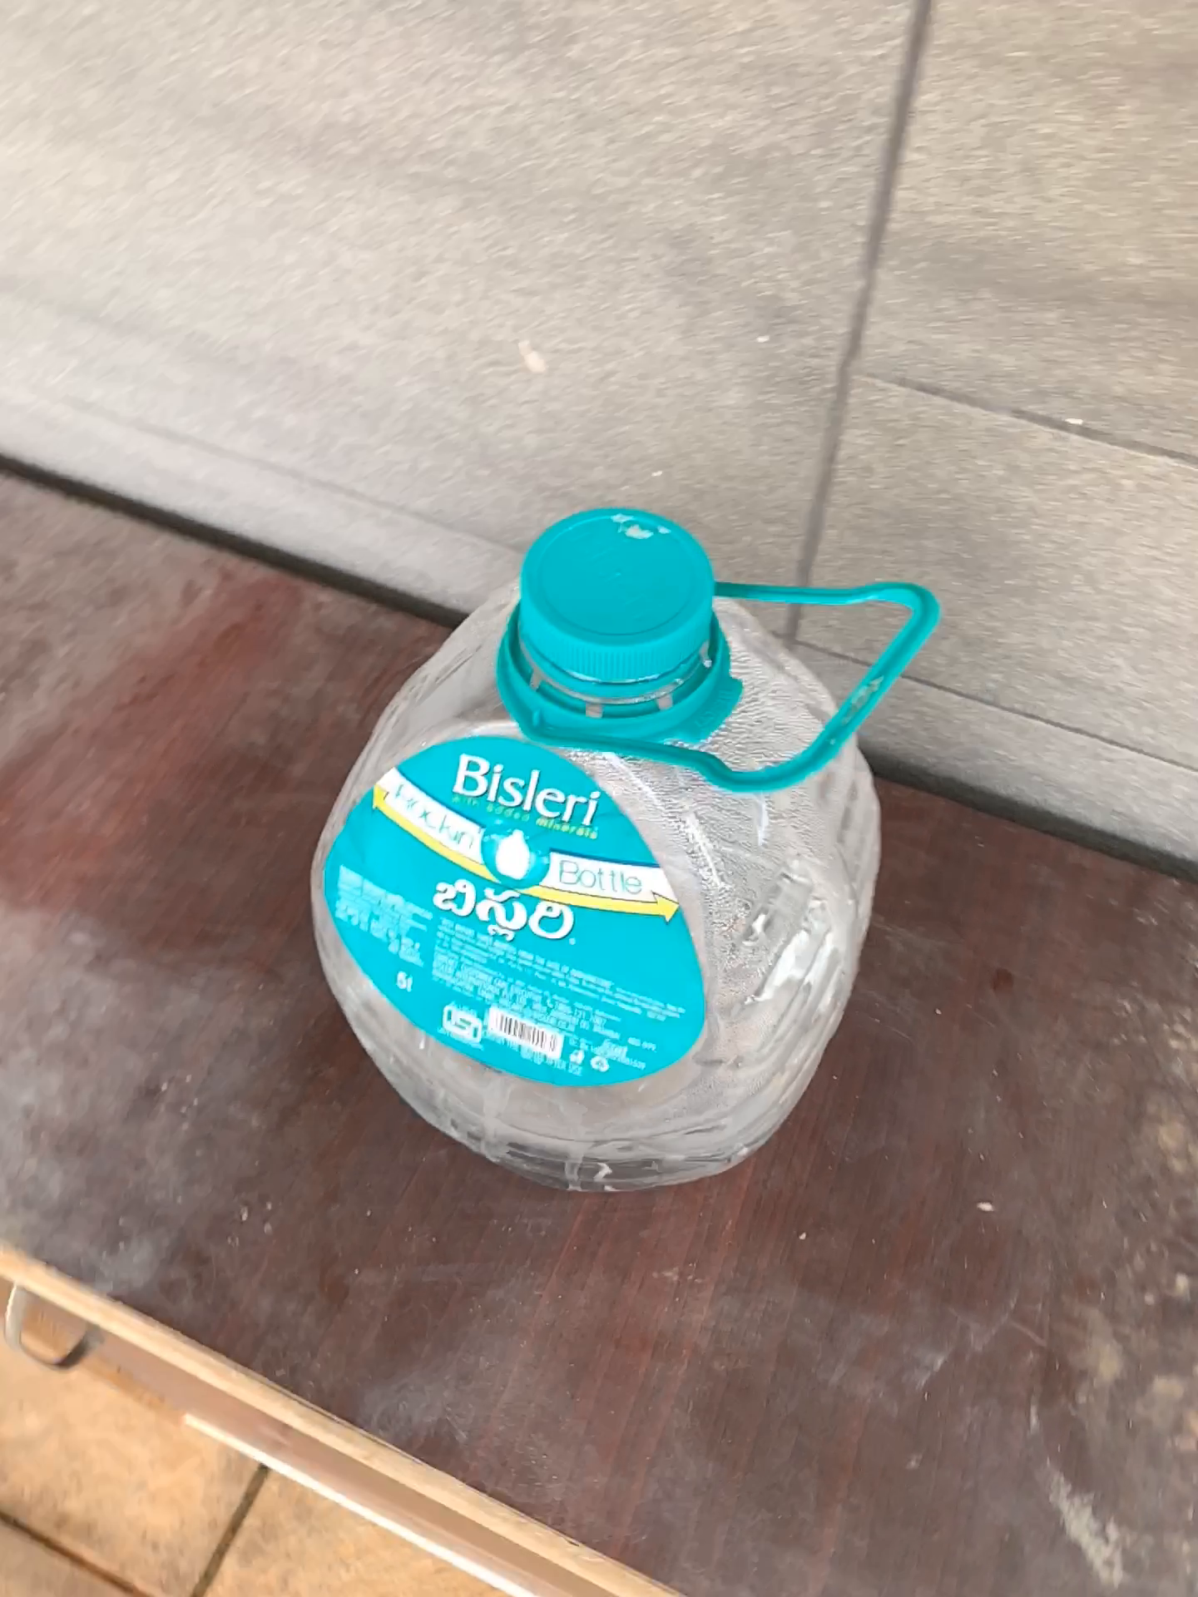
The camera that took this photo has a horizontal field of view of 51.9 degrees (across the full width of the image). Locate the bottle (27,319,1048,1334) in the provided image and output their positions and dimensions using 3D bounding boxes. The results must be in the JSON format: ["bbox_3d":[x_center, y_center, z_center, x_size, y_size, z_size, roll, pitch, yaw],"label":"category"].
[{"bbox_3d":[-0.008,0.015,0.402,0.200,0.219,0.180,22,56,14],"label":"bottle"}]

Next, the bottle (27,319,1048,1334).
[{"bbox_3d":[-0.008,0.015,0.402,0.200,0.219,0.180,22,56,14],"label":"bottle"}]
